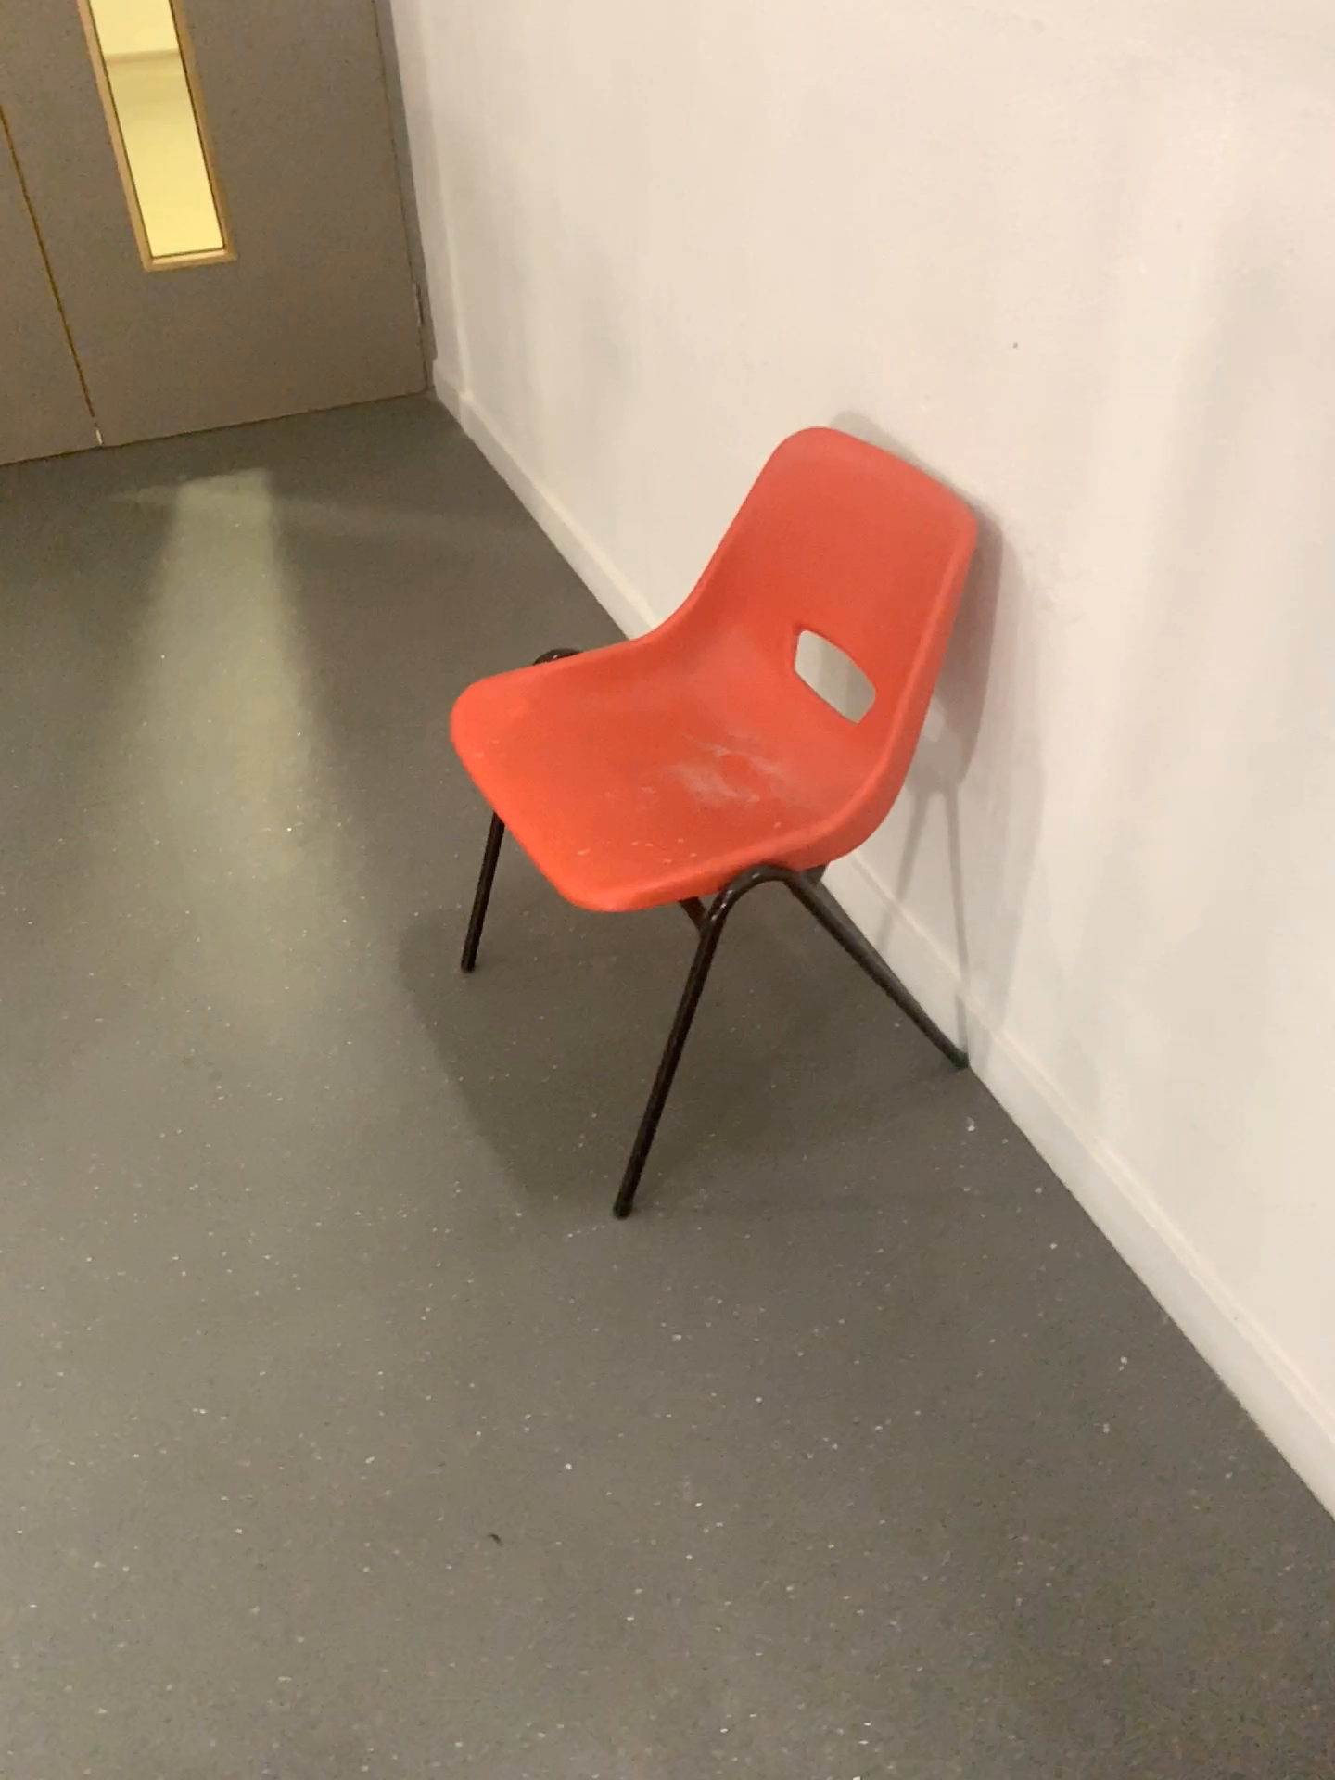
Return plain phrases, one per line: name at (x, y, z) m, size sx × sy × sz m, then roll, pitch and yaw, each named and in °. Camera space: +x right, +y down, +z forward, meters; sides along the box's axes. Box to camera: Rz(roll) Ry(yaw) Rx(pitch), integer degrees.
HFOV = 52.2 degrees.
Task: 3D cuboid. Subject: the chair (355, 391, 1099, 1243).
chair at (0.055, -0.104, 1.637) m, size 0.591 × 0.713 × 0.514 m, roll -21°, pitch 43°, yaw -21°
